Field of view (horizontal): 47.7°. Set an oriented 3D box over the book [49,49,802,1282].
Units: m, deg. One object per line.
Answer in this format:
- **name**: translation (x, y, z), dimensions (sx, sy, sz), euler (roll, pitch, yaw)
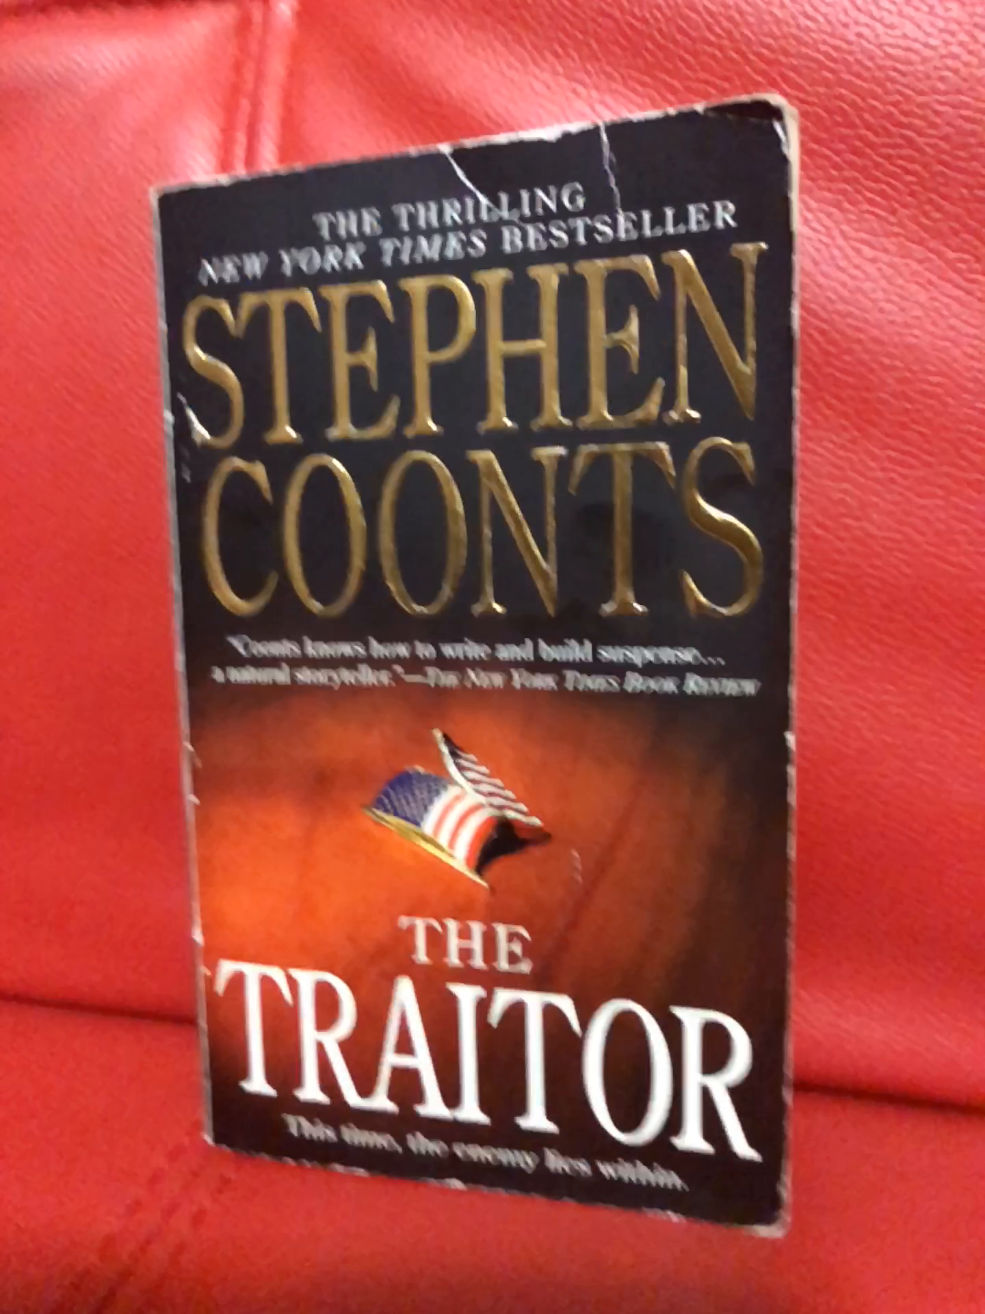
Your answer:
- **book**: translation (-0.010, 0.003, 0.196), dimensions (0.120, 0.180, 0.040), euler (1, 5, 15)
